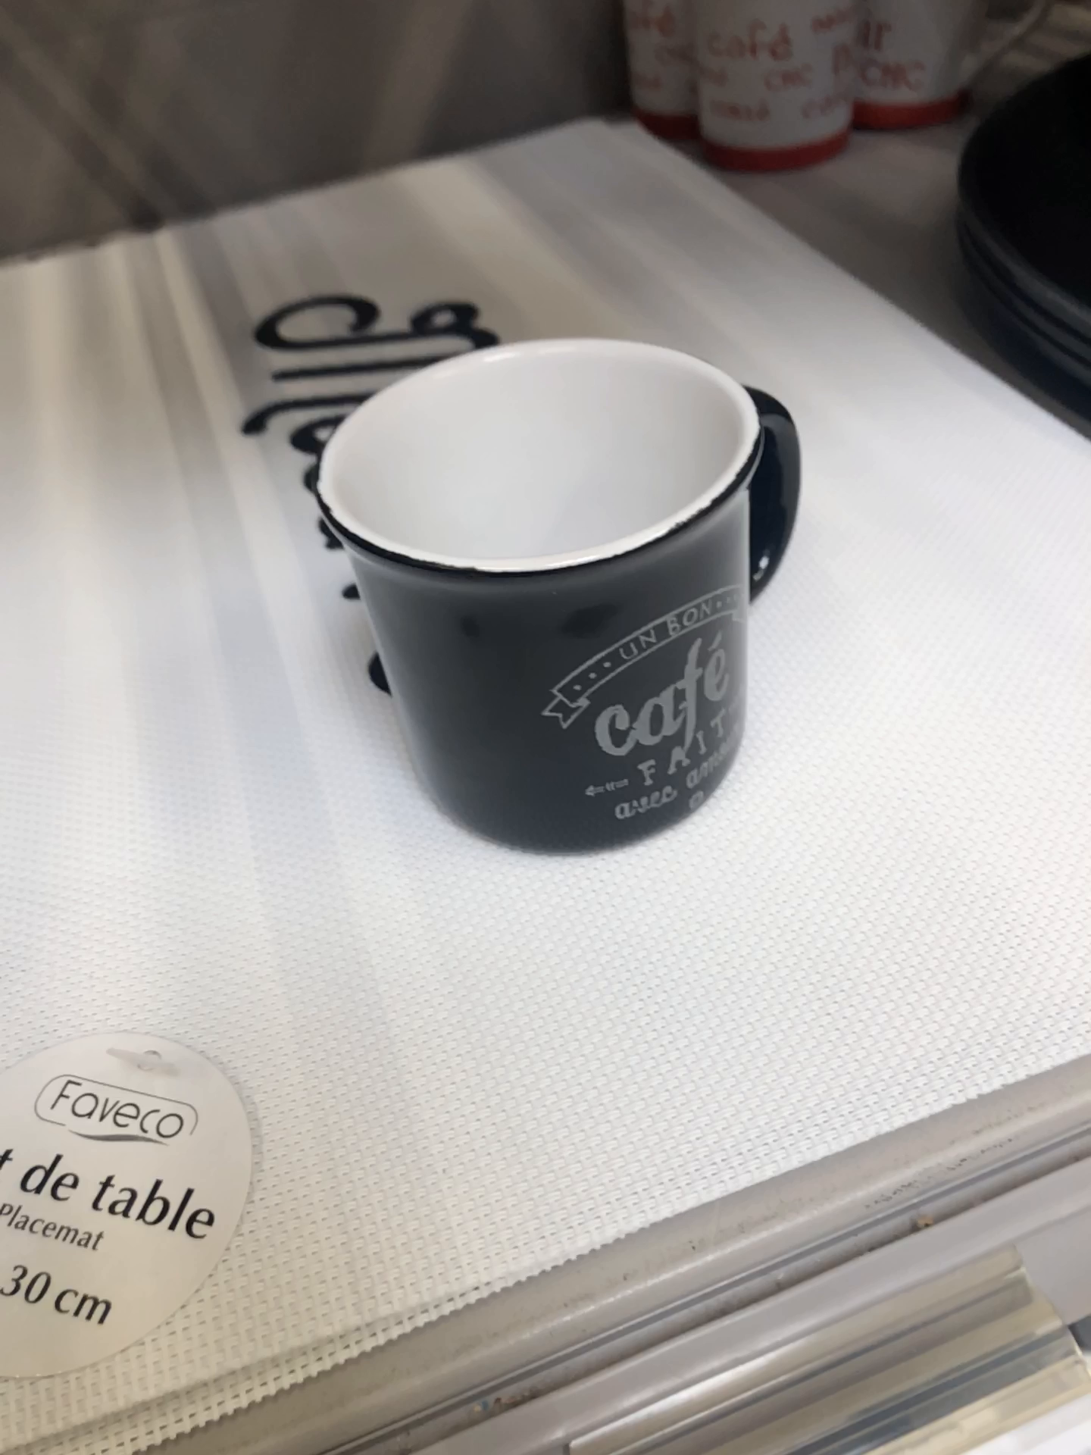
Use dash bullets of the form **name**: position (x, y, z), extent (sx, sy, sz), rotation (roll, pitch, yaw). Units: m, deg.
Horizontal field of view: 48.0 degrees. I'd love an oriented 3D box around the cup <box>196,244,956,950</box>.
- **cup**: position (0.008, -0.030, 0.221), extent (0.101, 0.064, 0.075), rotation (-34, 48, -25)
